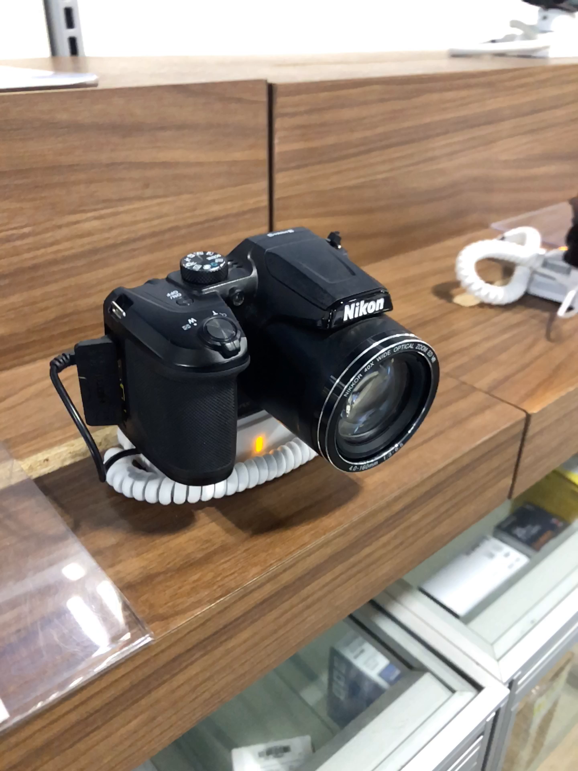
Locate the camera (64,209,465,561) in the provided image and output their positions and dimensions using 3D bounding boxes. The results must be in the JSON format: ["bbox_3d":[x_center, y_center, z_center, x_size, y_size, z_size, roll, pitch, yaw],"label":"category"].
[{"bbox_3d":[-0.012,-0.014,0.266,0.110,0.079,0.111,-21,35,-33],"label":"camera"}]
